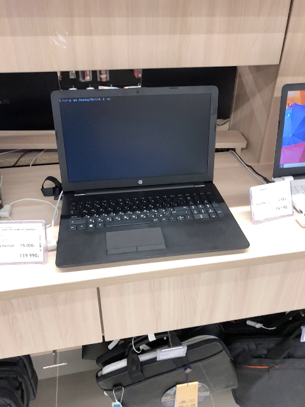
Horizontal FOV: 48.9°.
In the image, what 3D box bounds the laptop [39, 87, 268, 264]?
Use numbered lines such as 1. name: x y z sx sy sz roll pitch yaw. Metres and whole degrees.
1. laptop: -0.017 -0.080 0.699 0.358 0.222 0.298 -4 34 -7
